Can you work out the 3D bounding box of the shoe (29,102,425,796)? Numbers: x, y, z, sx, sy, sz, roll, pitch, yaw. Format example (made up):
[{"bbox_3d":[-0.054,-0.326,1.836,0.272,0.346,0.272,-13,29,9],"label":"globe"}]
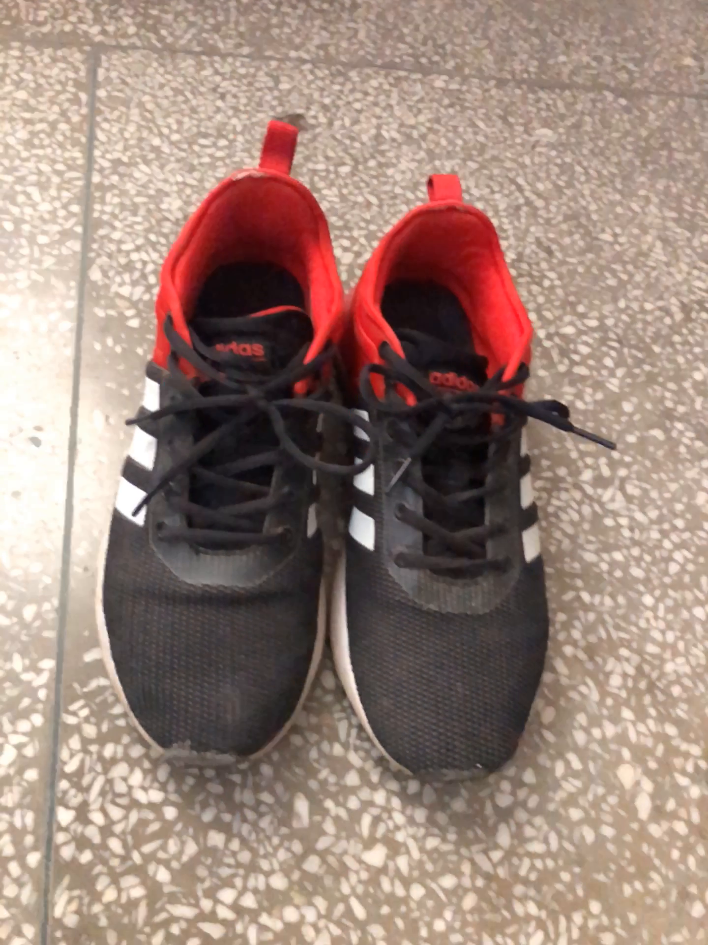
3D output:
[{"bbox_3d":[-0.046,-0.016,0.397,0.130,0.140,0.310,6,60,-7],"label":"shoe"}]

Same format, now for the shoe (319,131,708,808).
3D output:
[{"bbox_3d":[0.059,-0.006,0.416,0.130,0.140,0.320,5,60,-8],"label":"shoe"}]
